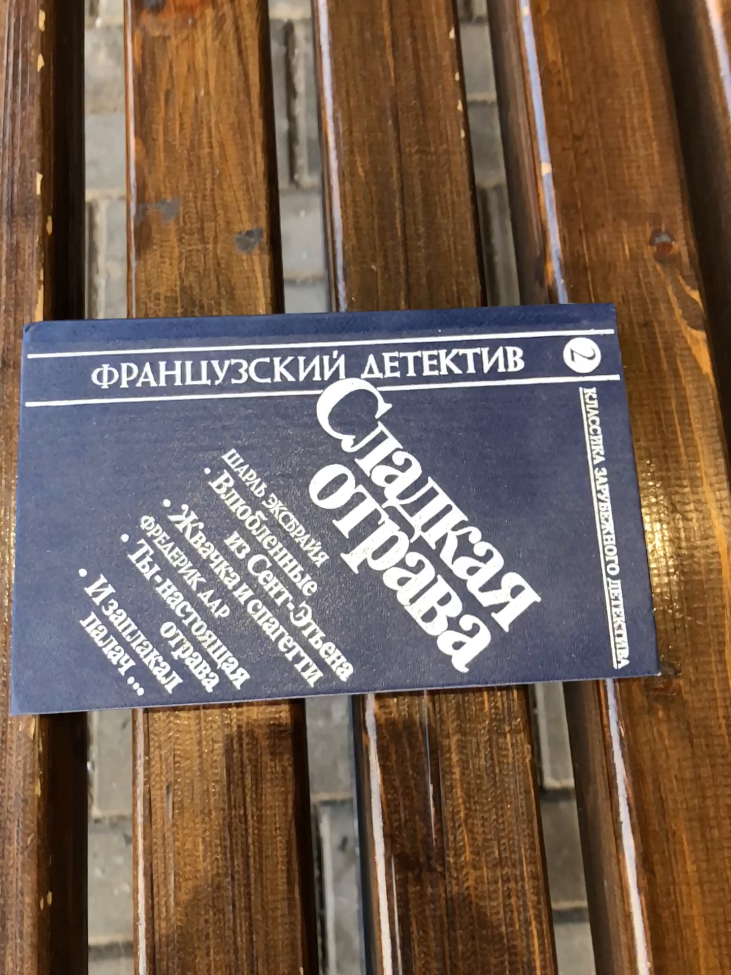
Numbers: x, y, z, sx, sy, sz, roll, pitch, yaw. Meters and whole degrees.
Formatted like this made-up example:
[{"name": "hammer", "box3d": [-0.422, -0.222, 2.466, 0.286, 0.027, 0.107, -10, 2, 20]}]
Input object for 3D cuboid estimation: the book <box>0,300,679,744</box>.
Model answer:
[{"name": "book", "box3d": [-0.011, 0.009, 0.280, 0.211, 0.030, 0.133, -4, 79, -3]}]
